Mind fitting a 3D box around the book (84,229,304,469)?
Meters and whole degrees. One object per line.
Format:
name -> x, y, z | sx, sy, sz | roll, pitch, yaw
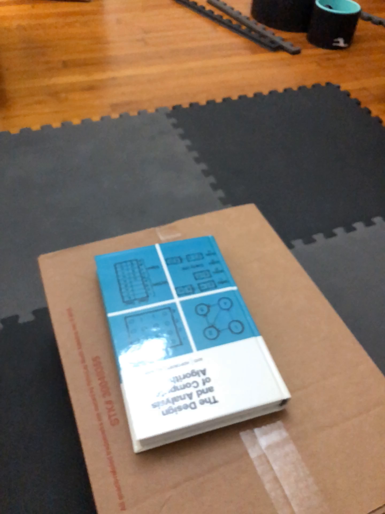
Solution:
book -> -0.014, 0.086, 0.517 | 0.190, 0.040, 0.261 | -11, 50, -14
